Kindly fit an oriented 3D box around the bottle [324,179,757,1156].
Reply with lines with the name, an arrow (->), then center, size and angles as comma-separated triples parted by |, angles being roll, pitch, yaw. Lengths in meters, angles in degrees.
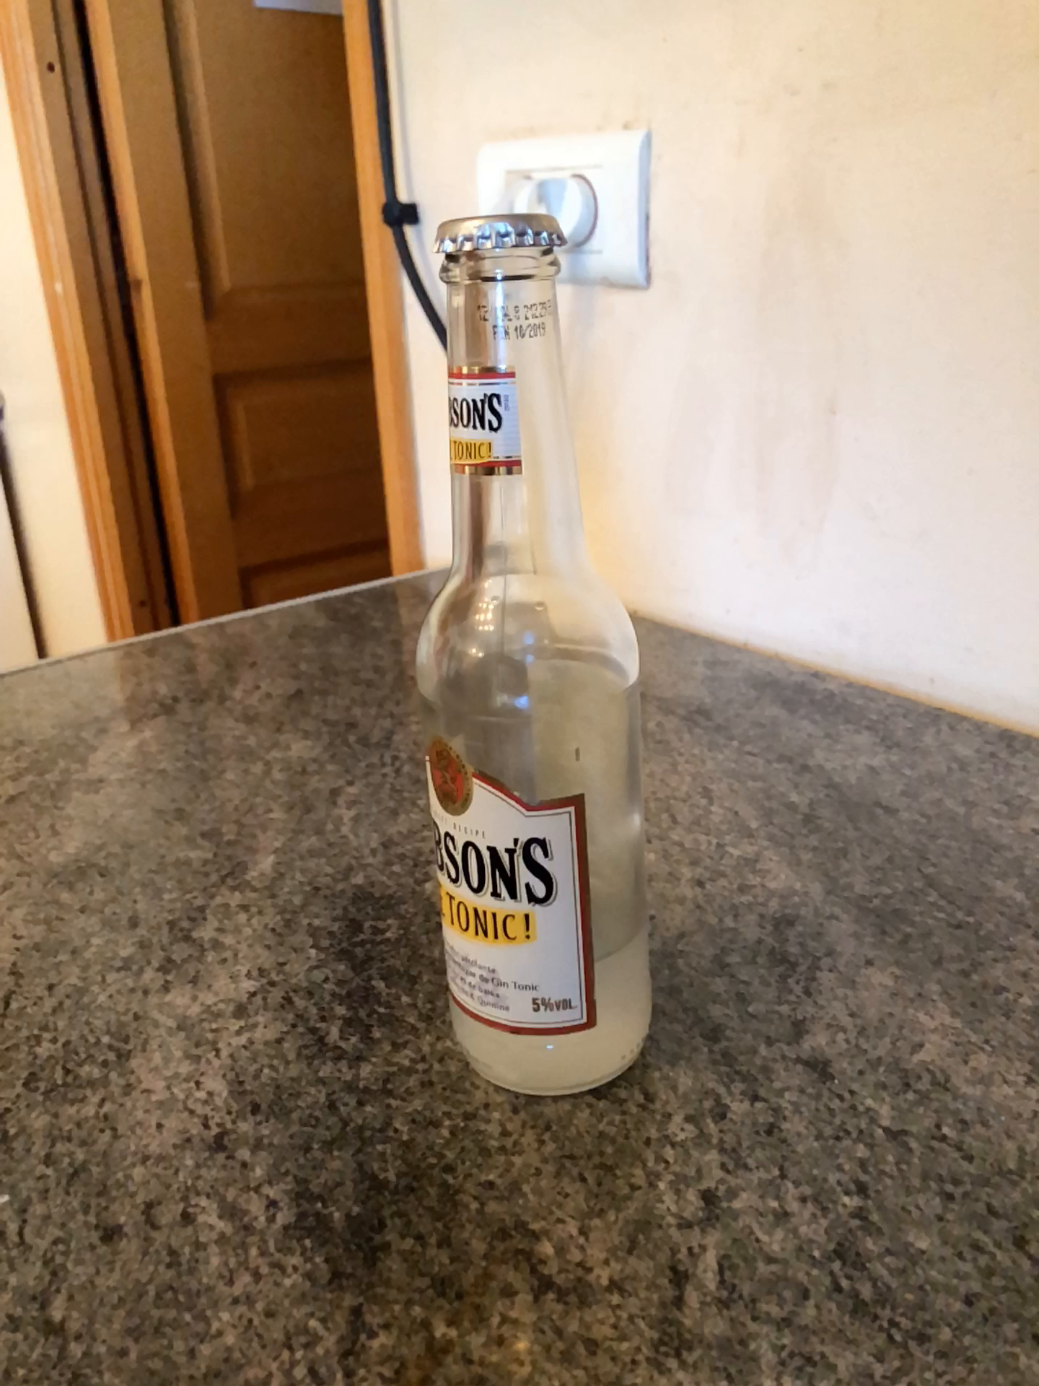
bottle -> 0.008, -0.006, 0.277 | 0.060, 0.209, 0.070 | -18, 25, -36
